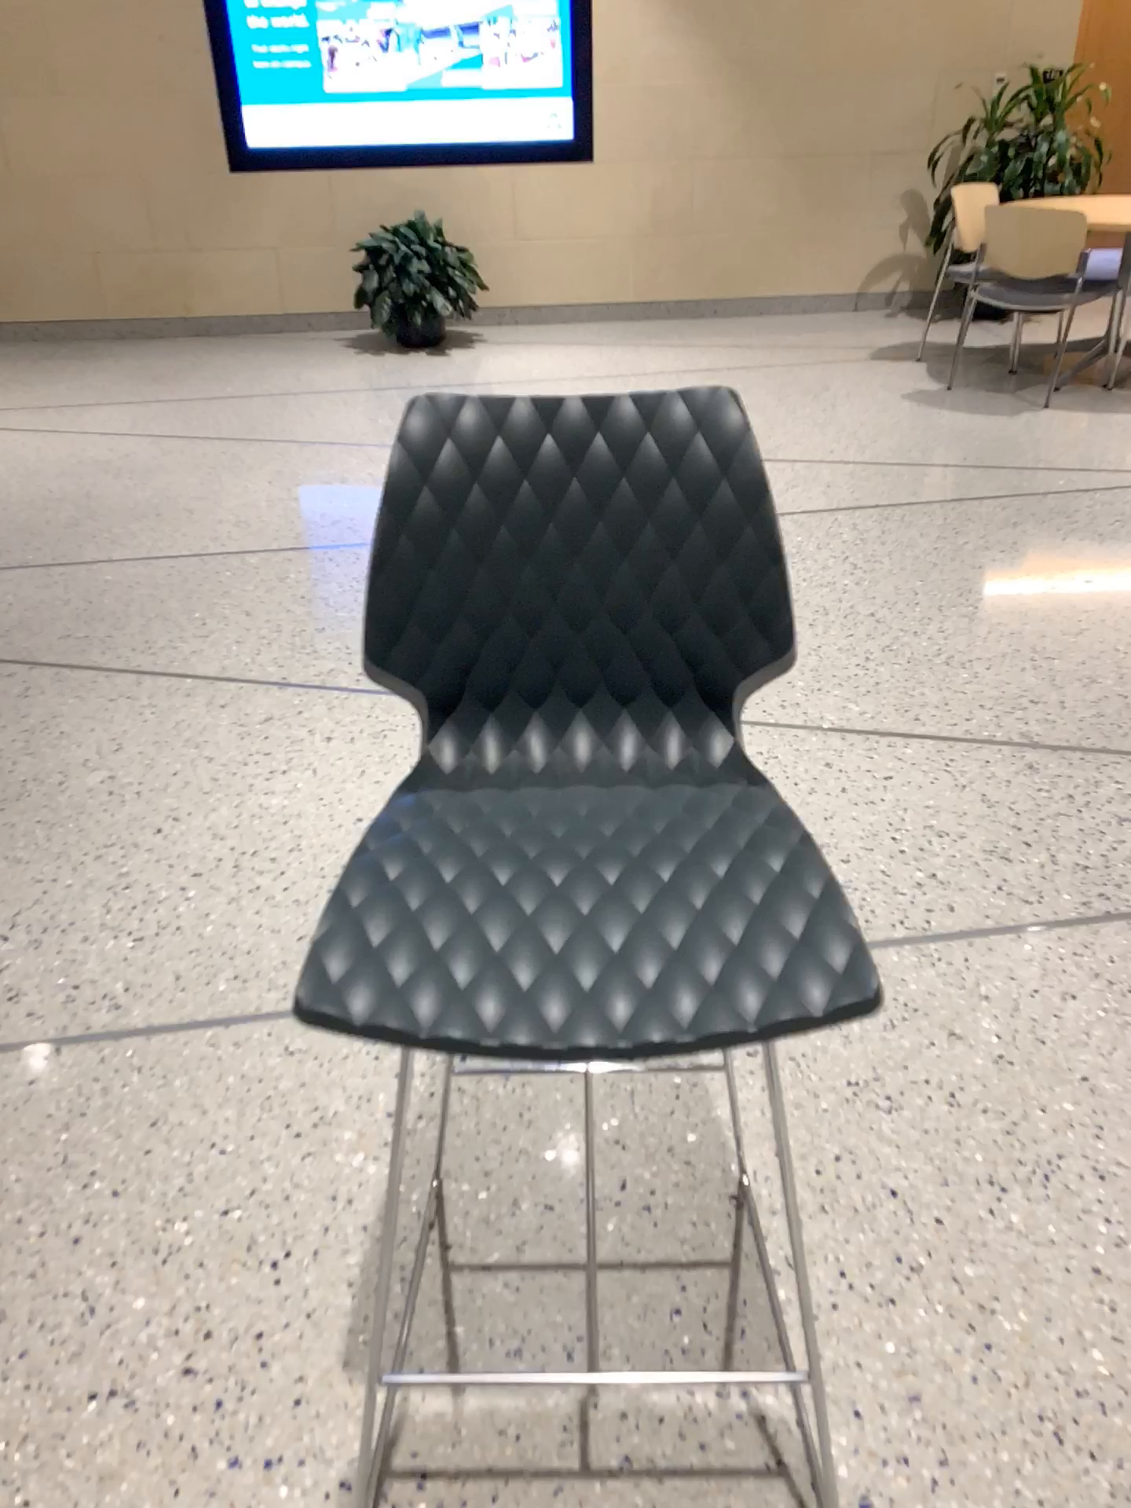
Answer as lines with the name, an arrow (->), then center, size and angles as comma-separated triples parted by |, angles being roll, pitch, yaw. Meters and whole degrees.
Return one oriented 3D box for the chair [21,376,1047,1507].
chair -> 0.000, 0.221, 1.071 | 0.534, 0.996, 0.536 | 0, 30, 3
